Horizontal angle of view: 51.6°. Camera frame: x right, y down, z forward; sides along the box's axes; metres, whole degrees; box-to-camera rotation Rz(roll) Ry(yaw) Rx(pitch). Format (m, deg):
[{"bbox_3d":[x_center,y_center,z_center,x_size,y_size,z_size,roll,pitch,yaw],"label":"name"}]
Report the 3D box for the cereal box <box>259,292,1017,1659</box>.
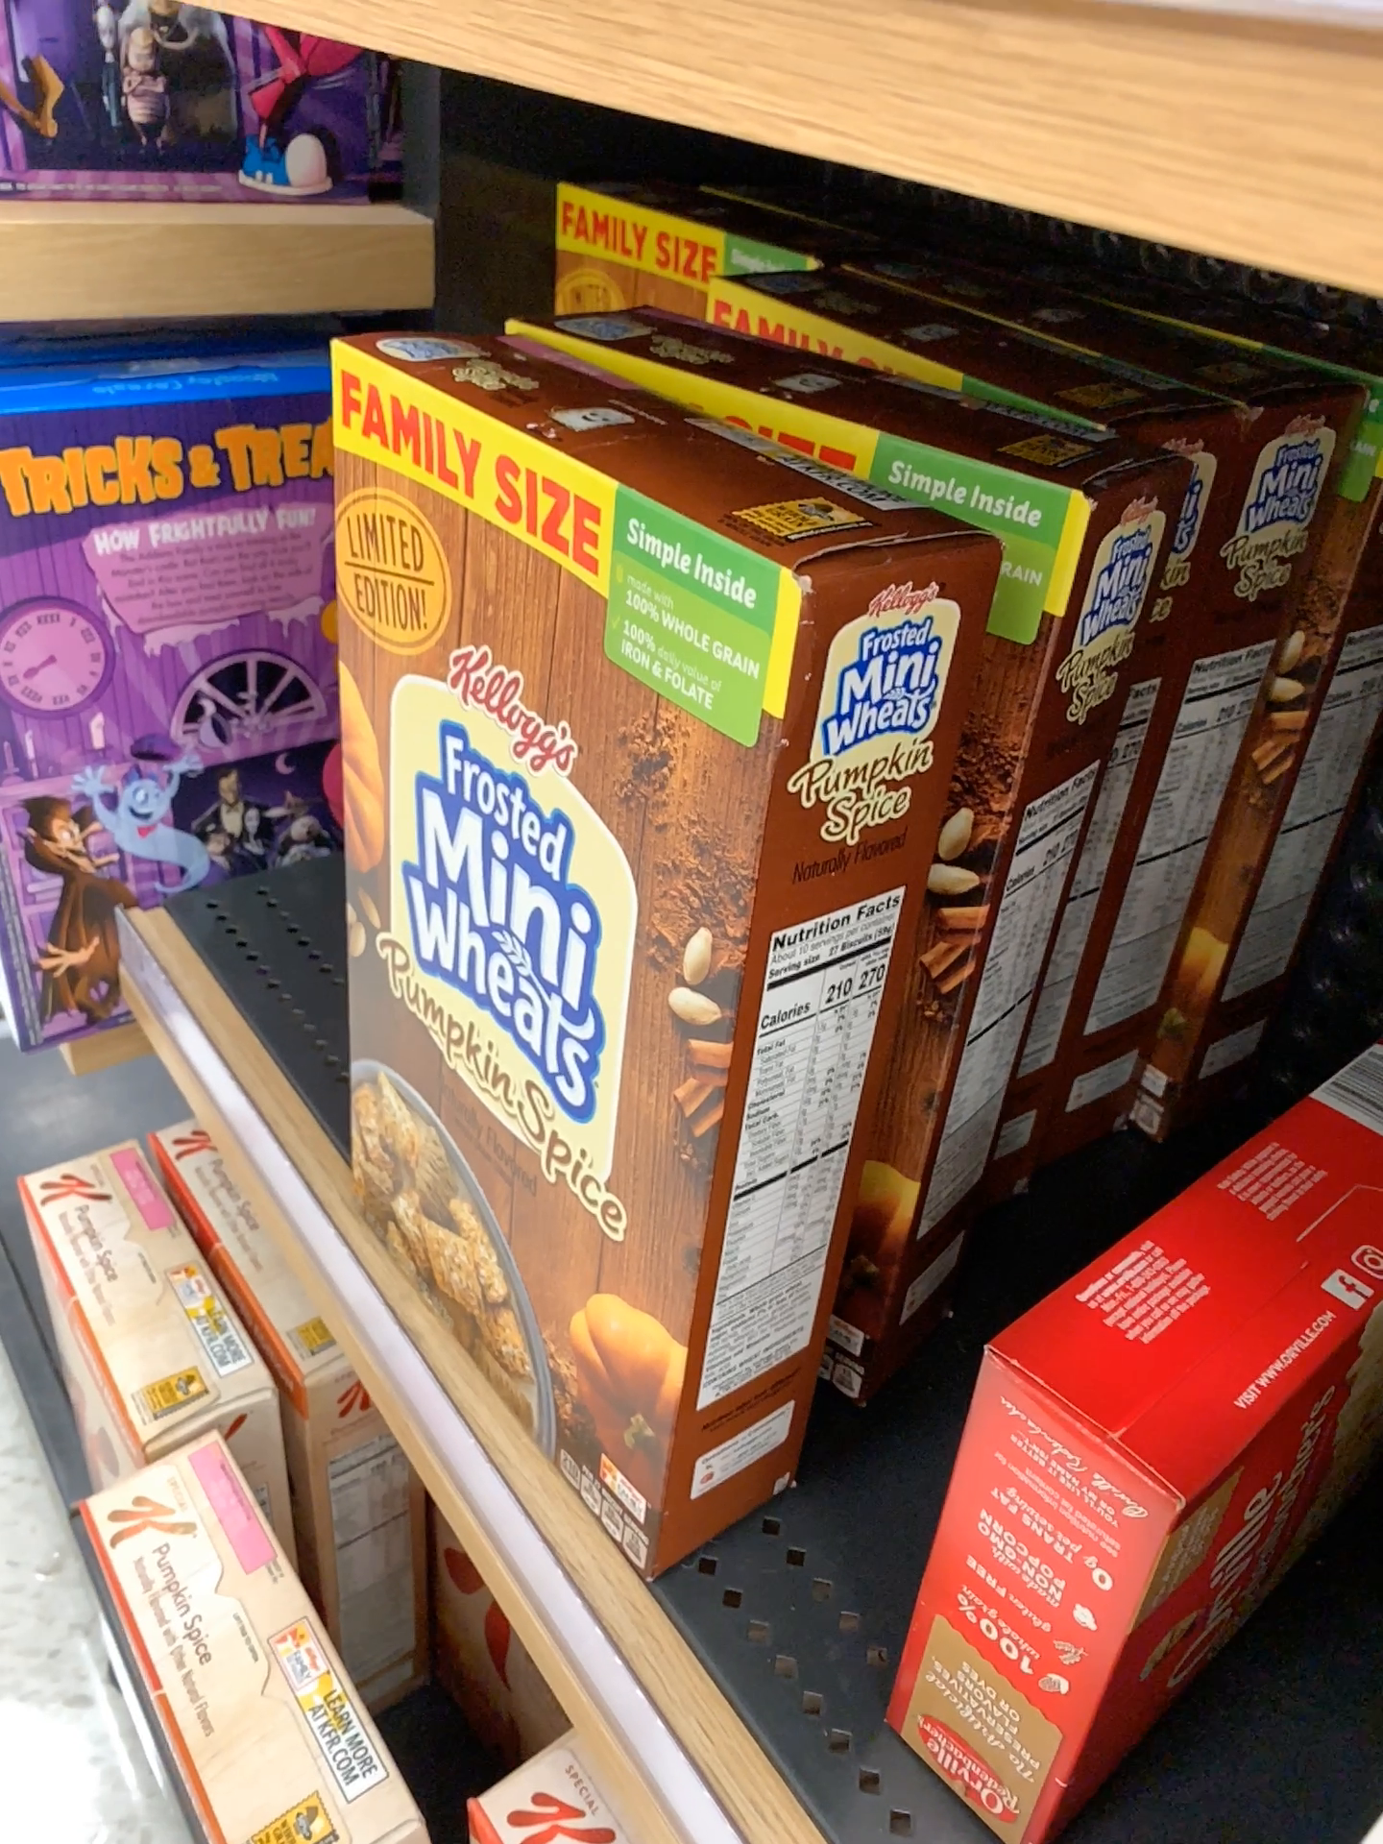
[{"bbox_3d":[-0.042,0.017,0.385,0.050,0.308,0.201,-19,41,-36],"label":"cereal box"}]
